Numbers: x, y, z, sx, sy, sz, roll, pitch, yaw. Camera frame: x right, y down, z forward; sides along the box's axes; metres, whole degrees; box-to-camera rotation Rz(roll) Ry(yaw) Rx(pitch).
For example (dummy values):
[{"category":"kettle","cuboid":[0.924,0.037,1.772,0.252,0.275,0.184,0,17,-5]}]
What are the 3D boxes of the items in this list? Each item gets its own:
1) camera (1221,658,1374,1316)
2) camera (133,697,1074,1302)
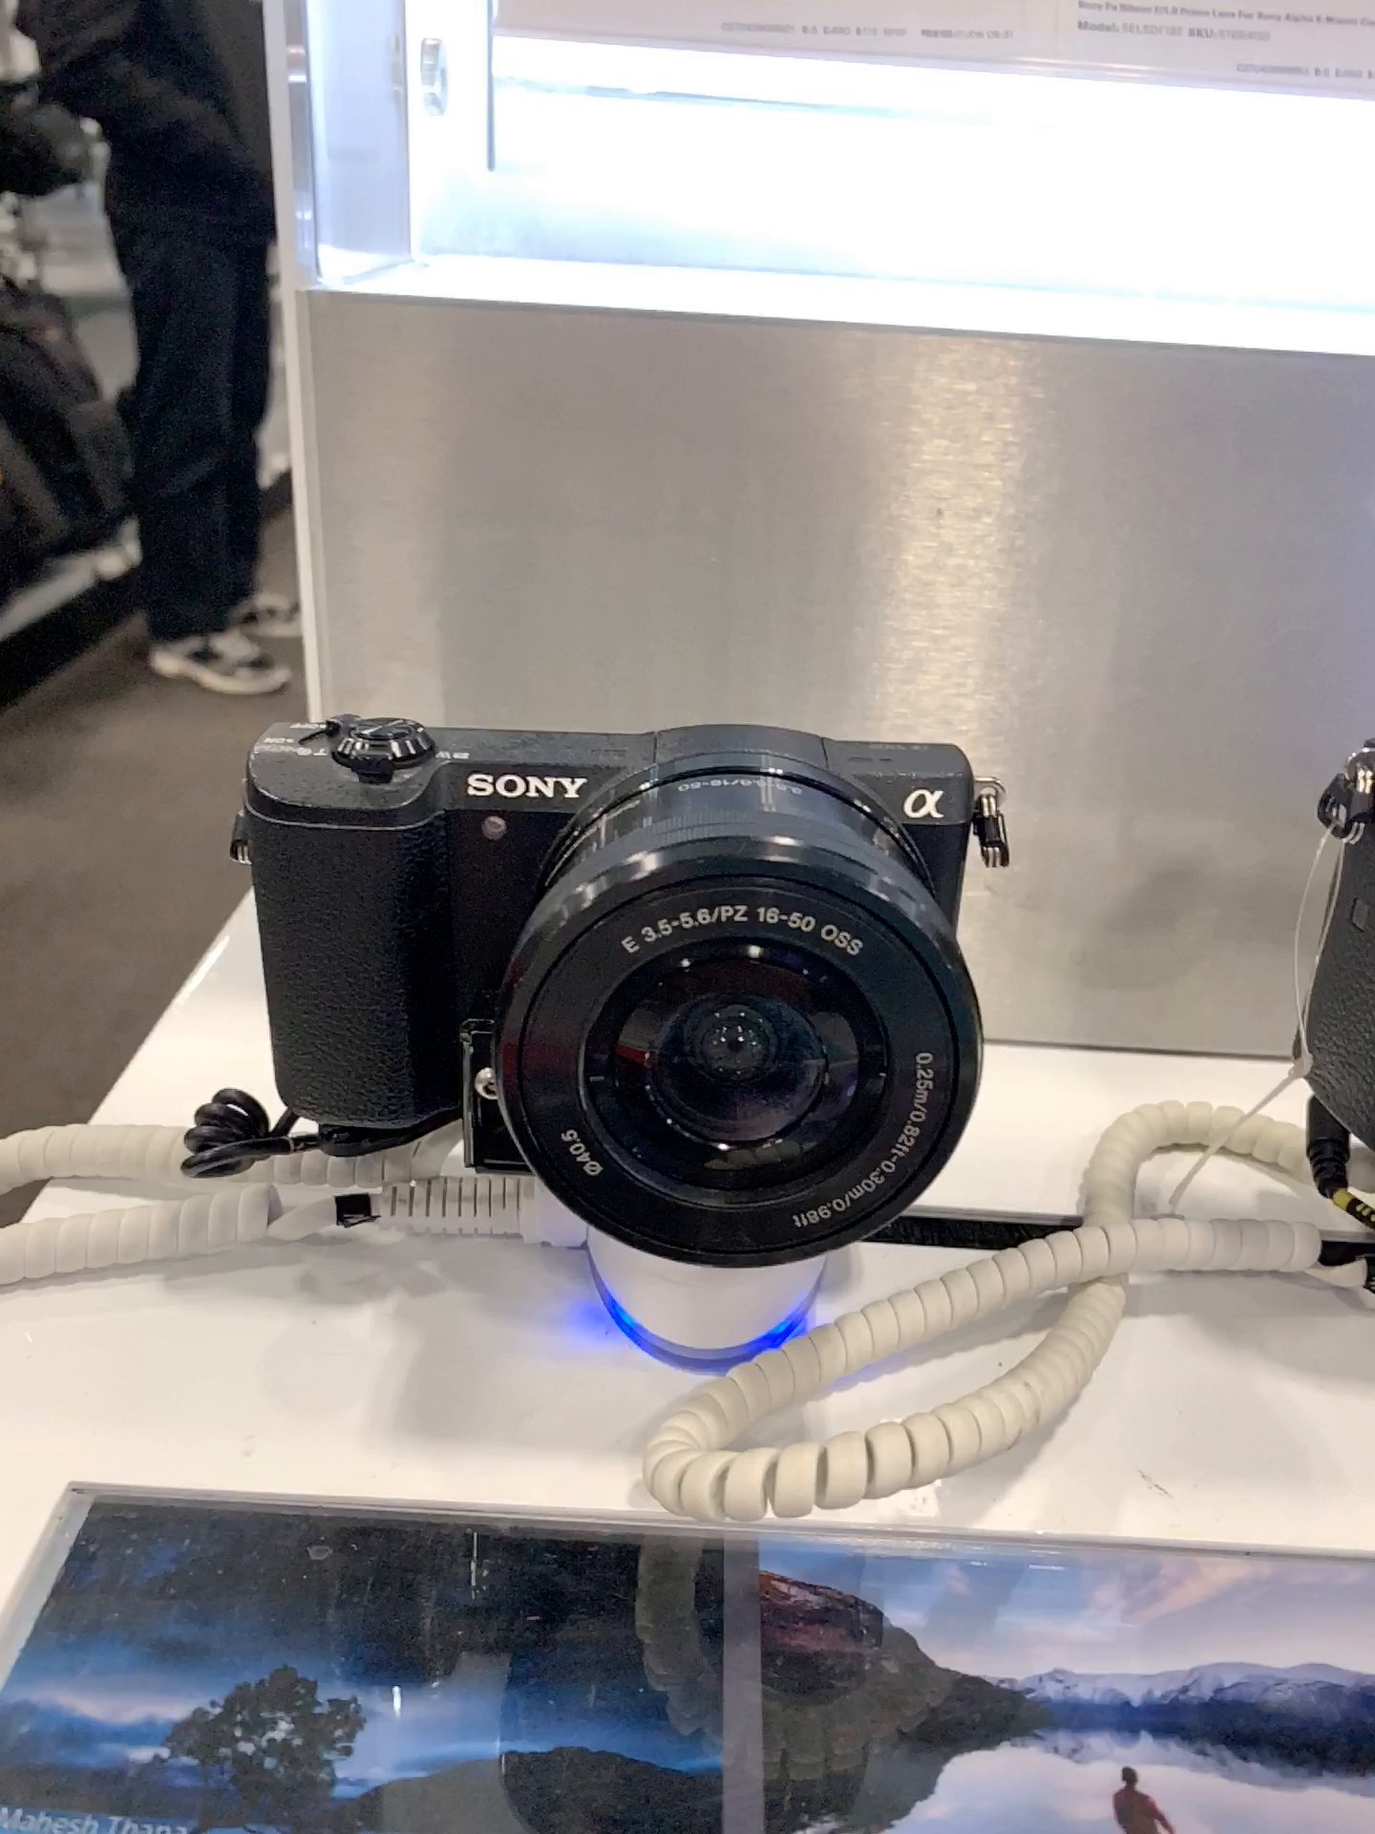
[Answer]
[{"category":"camera","cuboid":[0.163,0.005,0.210,0.136,0.060,0.071,5,23,2]},{"category":"camera","cuboid":[-0.011,0.009,0.215,0.112,0.060,0.066,3,27,-2]}]
